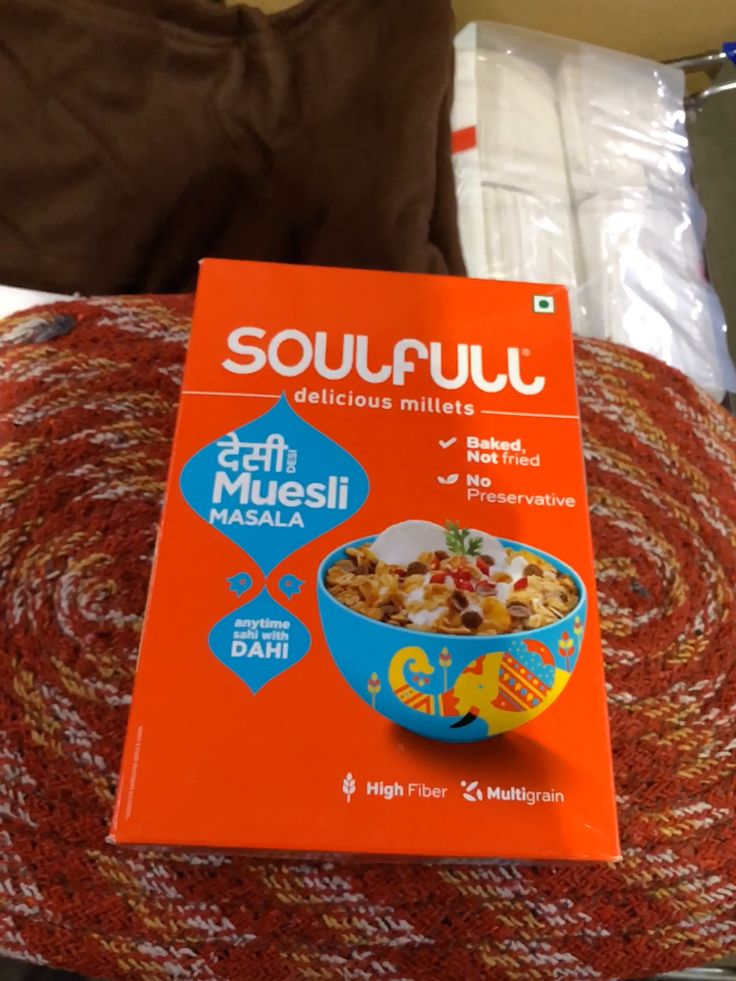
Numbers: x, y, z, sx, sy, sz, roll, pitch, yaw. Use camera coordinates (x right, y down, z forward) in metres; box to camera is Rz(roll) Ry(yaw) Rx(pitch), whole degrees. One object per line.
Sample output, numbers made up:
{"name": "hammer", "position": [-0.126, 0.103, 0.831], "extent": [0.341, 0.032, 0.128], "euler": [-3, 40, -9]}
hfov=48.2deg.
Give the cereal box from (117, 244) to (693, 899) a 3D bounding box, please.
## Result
{"name": "cereal box", "position": [0.014, 0.022, 0.342], "extent": [0.180, 0.060, 0.261], "euler": [2, 63, -2]}
